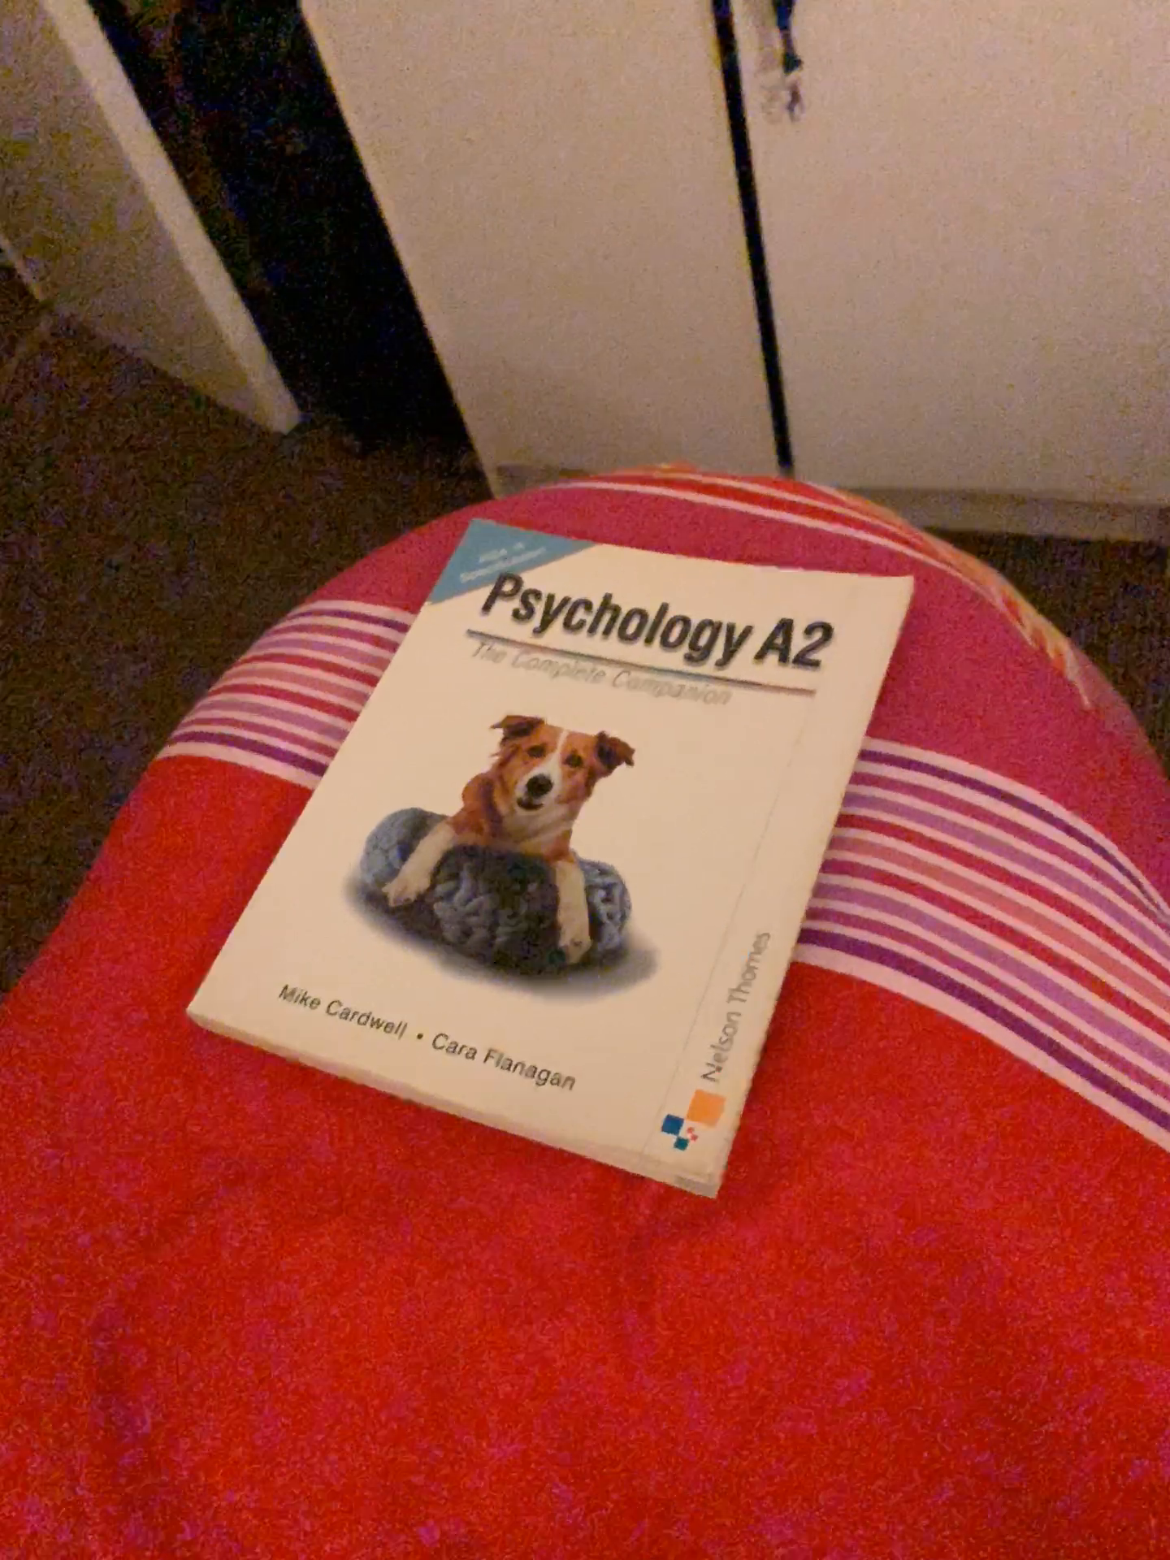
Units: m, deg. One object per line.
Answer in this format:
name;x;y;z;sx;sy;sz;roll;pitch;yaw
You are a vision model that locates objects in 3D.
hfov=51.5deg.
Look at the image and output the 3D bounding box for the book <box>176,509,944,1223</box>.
book;0.002;0.006;0.525;0.241;0.040;0.292;10;57;23
